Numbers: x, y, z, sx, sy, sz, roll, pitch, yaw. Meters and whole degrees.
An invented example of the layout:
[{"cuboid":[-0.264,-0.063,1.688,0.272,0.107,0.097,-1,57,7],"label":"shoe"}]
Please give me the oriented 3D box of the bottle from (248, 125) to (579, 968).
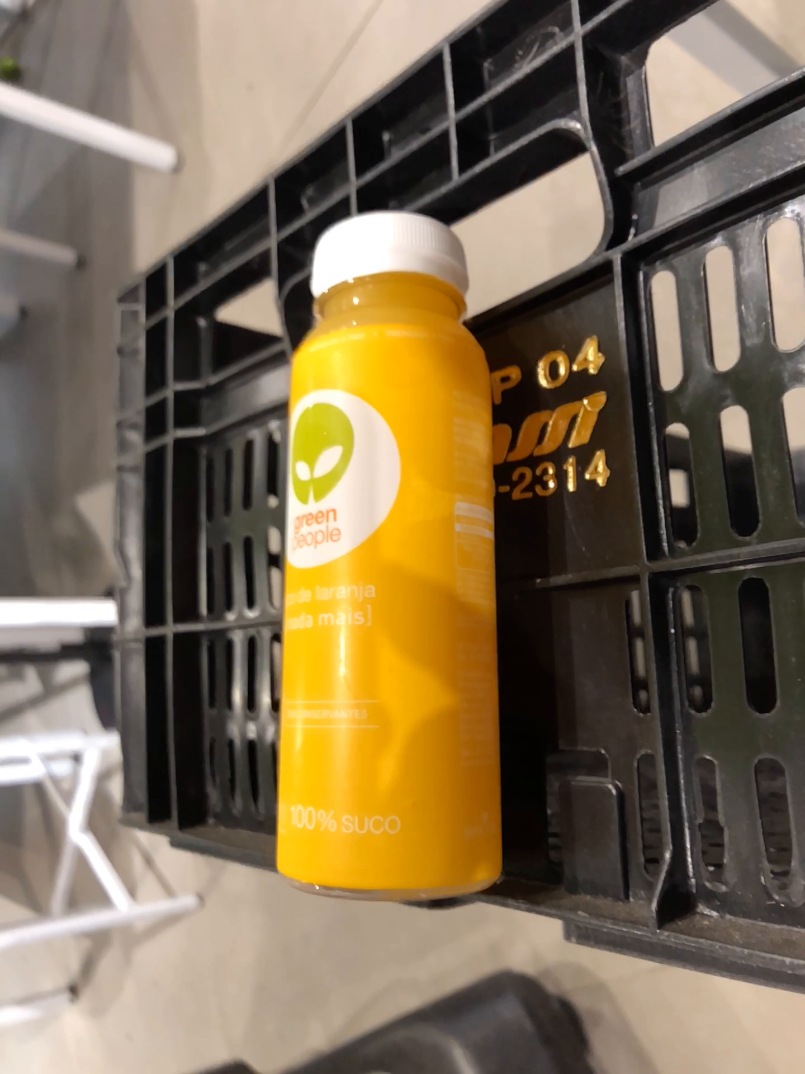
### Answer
[{"cuboid":[0.004,0.001,0.229,0.060,0.050,0.180,-11,74,48],"label":"bottle"}]
